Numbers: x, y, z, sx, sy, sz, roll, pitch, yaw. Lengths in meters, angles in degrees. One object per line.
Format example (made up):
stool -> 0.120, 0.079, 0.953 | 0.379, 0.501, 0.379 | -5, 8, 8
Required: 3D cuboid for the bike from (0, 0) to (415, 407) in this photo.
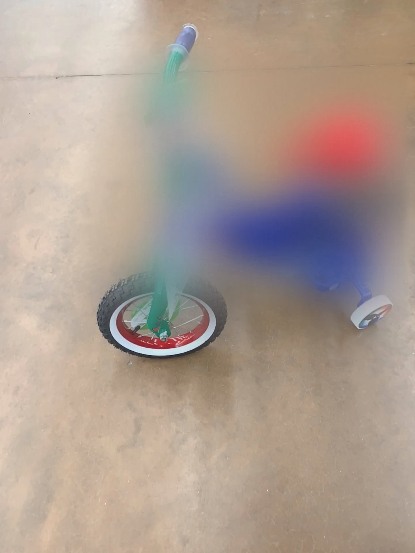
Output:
bike -> 0.108, -0.168, 0.927 | 0.794, 0.695, 0.466 | -19, 57, -9
